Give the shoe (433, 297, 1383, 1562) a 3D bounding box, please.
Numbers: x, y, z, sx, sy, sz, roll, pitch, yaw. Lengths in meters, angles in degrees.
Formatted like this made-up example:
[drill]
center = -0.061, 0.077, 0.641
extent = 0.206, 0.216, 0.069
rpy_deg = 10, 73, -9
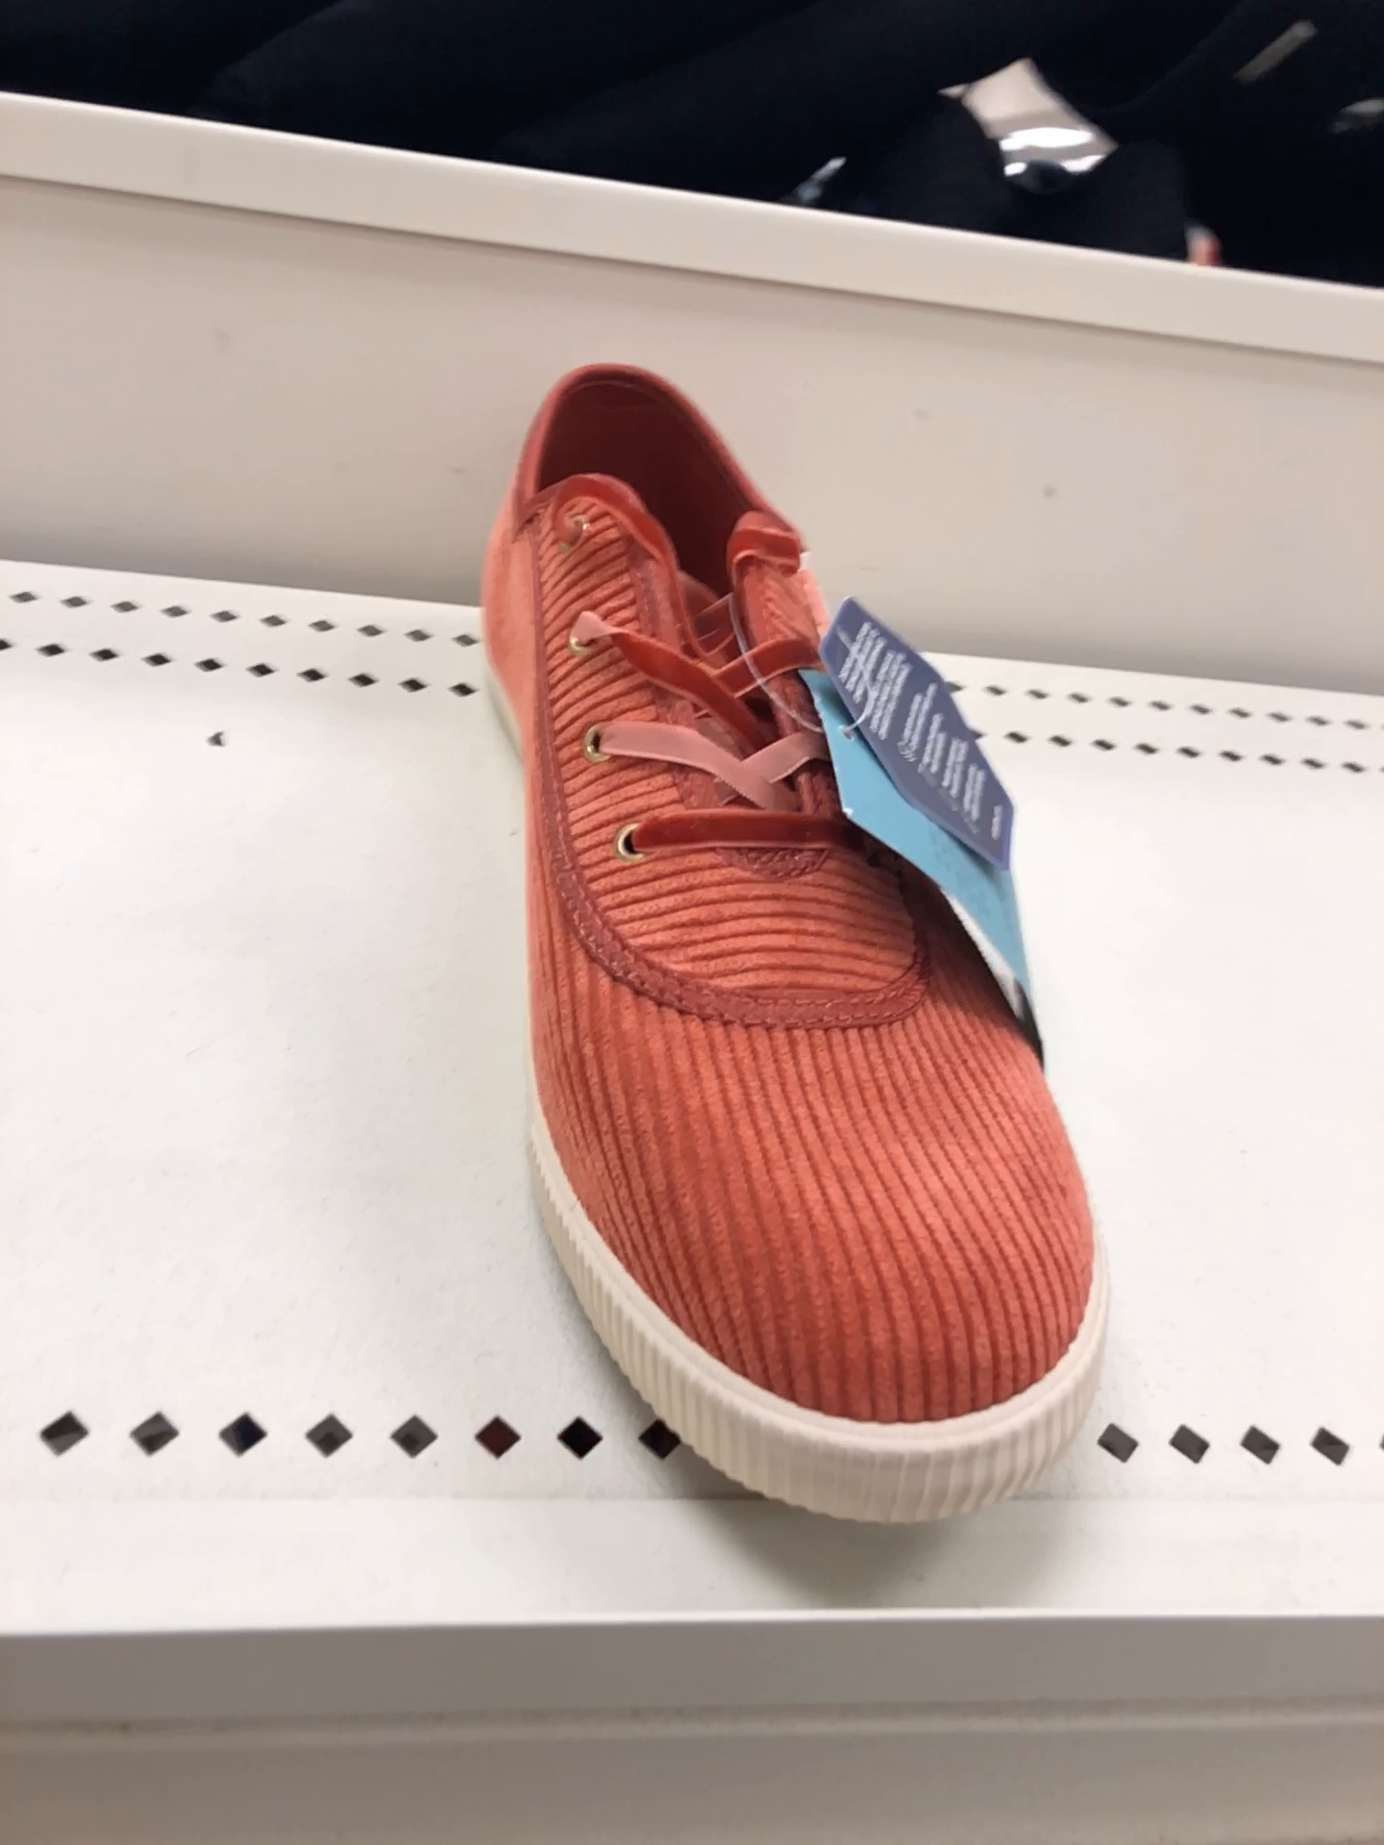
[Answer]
[shoe]
center = 0.008, -0.041, 0.326
extent = 0.100, 0.089, 0.323
rpy_deg = 1, 34, -14
